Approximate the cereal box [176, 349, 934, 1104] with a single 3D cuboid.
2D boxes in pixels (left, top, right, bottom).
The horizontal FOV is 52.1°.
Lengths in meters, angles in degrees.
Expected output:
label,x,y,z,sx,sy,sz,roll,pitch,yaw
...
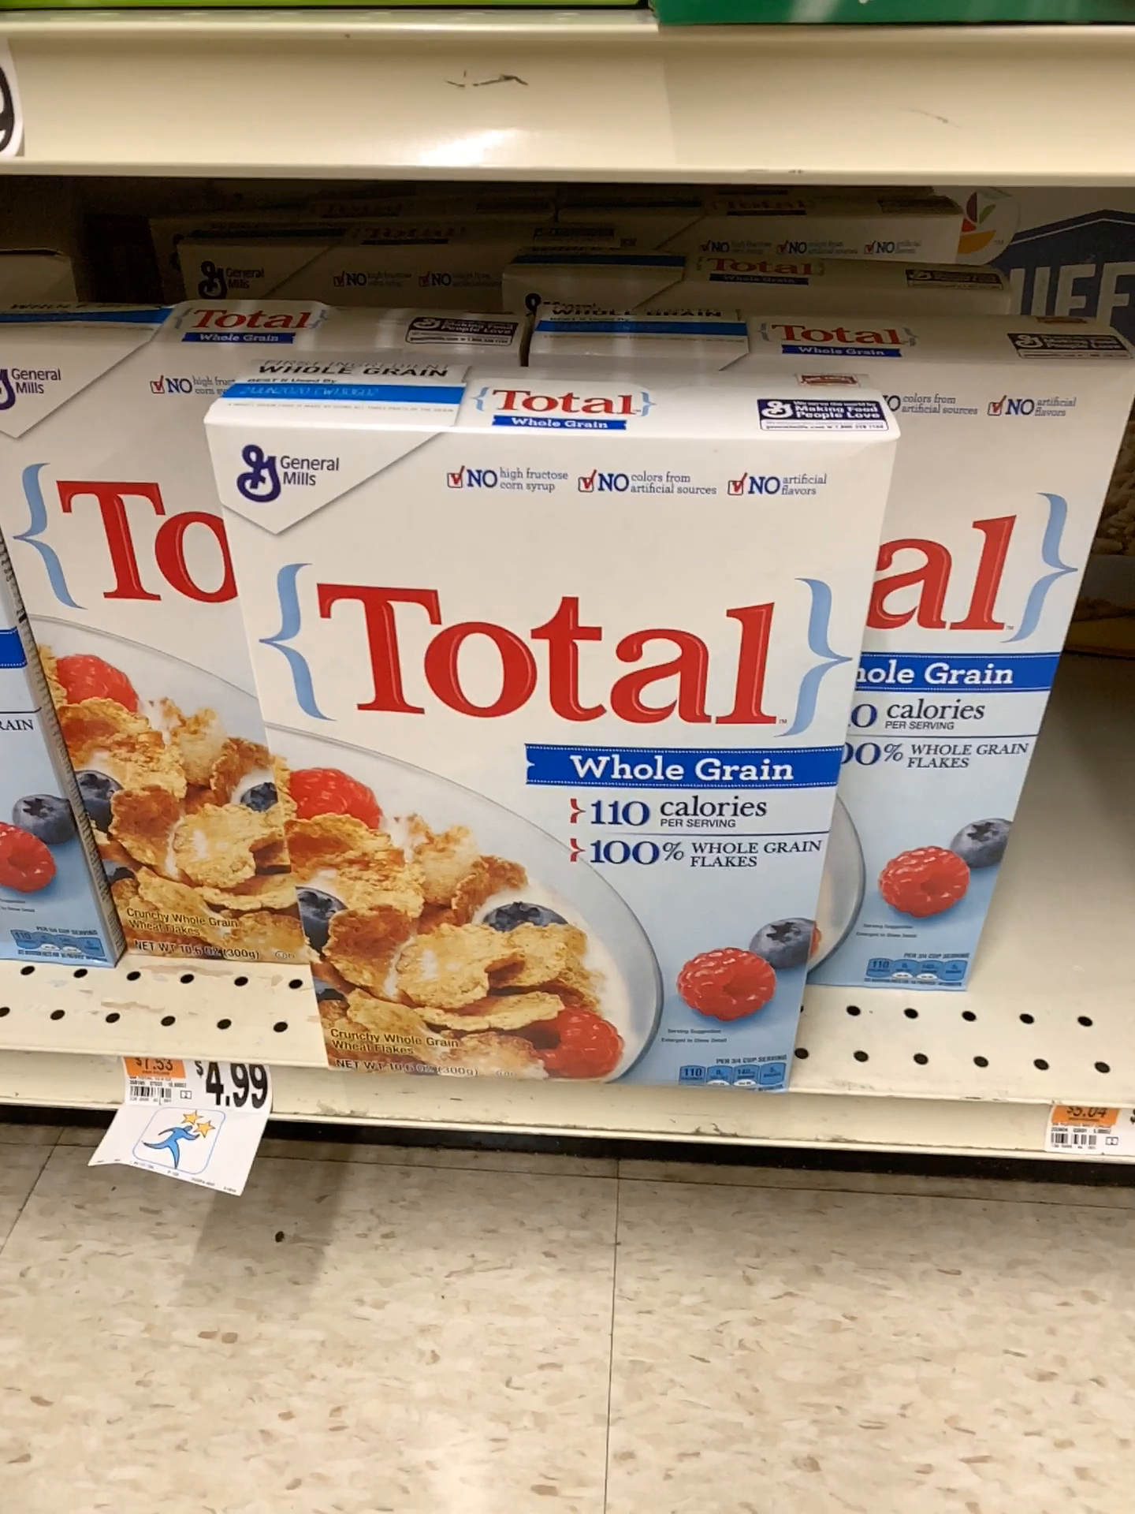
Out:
label,x,y,z,sx,sy,sz,roll,pitch,yaw
cereal box,-0.003,0.008,0.408,0.200,0.278,0.050,3,37,4
